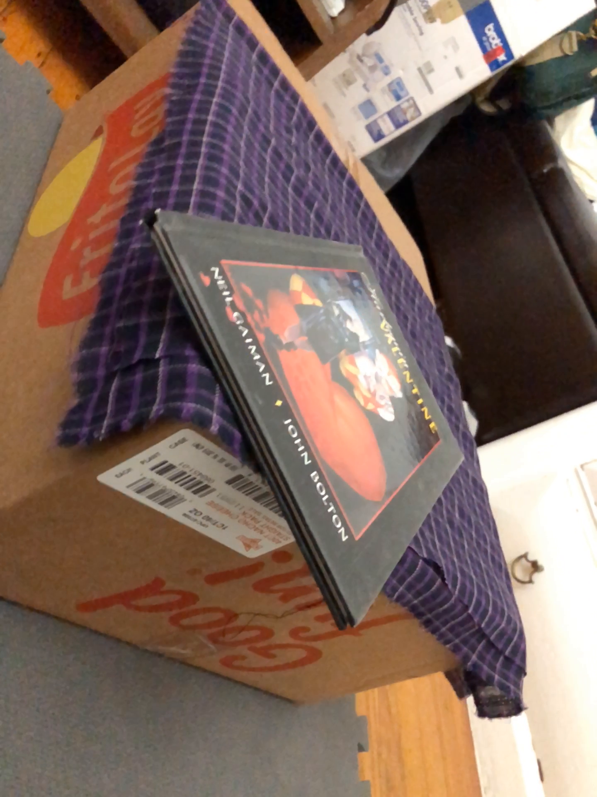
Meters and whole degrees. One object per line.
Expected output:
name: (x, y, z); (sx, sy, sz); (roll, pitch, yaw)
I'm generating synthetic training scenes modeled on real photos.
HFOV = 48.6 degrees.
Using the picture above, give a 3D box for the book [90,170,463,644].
book: (0.023, -0.020, 0.366); (0.180, 0.020, 0.281); (64, 24, 1)
